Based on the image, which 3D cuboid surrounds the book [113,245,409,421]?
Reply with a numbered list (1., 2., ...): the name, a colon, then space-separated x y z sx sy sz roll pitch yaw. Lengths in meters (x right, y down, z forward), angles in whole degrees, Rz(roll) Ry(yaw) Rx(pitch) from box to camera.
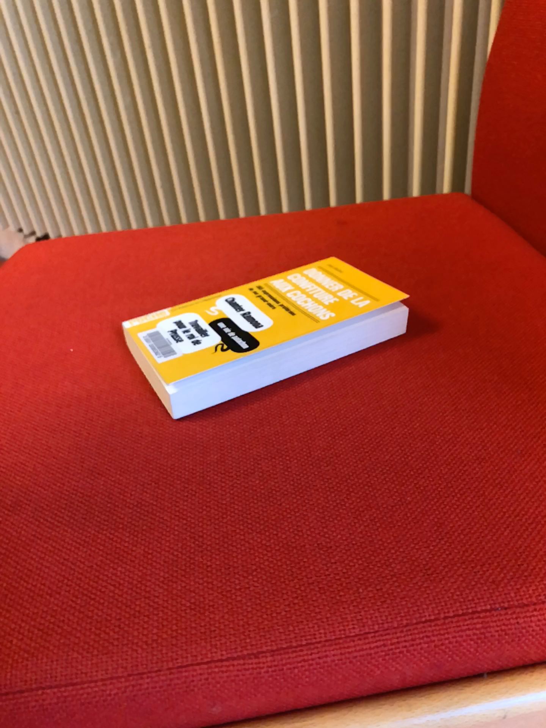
1. book: -0.009 -0.032 0.434 0.180 0.030 0.107 -20 38 -21
